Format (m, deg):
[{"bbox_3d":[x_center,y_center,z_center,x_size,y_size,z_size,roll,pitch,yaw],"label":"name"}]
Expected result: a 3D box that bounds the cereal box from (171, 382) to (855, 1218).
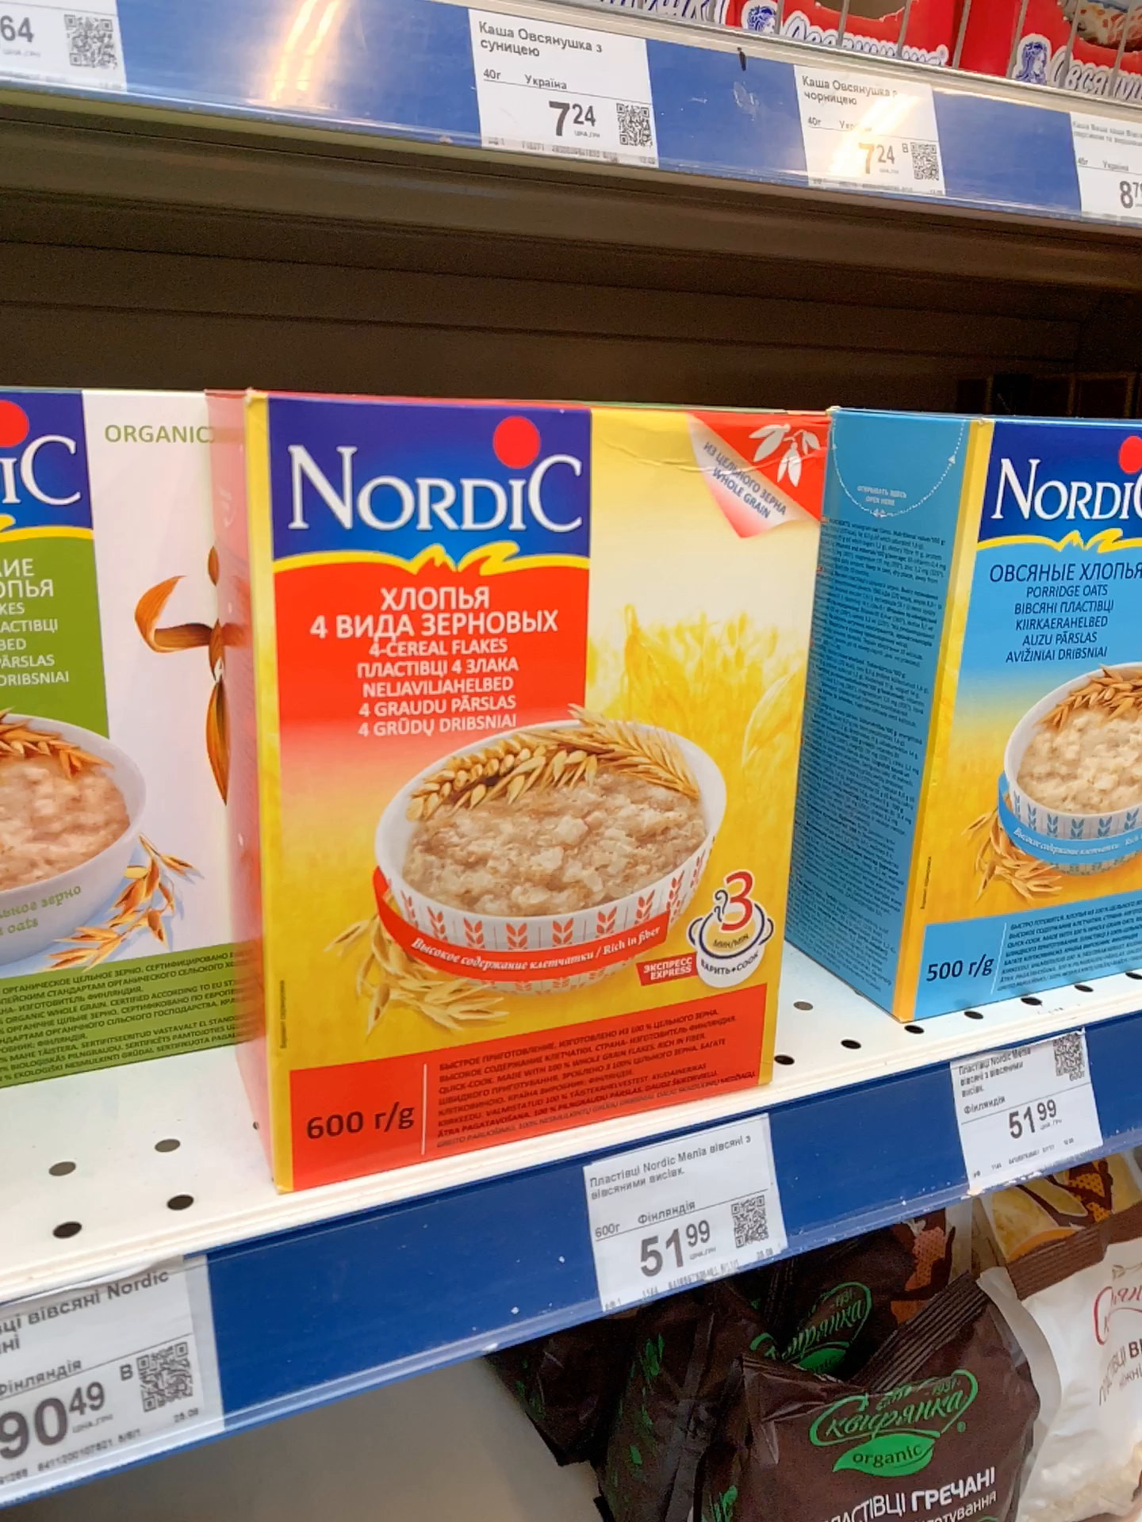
[{"bbox_3d":[-0.019,0.000,0.317,0.150,0.189,0.080,-5,18,-22],"label":"cereal box"}]
